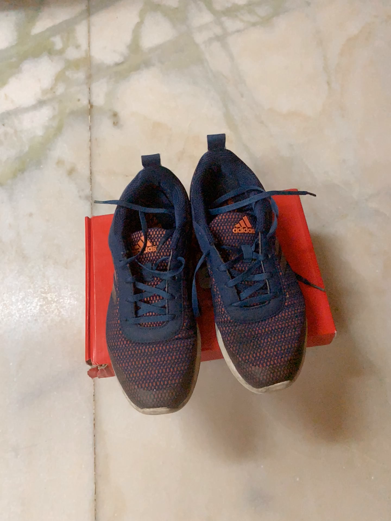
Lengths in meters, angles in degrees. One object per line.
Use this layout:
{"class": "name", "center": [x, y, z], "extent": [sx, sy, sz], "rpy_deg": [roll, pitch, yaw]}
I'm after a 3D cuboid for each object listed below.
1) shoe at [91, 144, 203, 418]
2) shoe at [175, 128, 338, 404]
{"class": "shoe", "center": [-0.051, 0.021, 0.472], "extent": [0.100, 0.100, 0.301], "rpy_deg": [-4, 67, 2]}
{"class": "shoe", "center": [0.053, 0.000, 0.441], "extent": [0.100, 0.080, 0.281], "rpy_deg": [-11, 67, -1]}
